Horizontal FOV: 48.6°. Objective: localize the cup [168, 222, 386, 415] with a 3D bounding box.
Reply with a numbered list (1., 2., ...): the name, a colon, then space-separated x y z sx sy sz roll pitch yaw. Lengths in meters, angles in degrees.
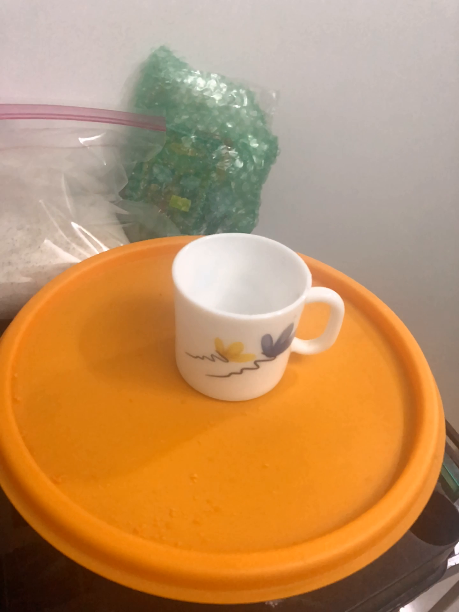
1. cup: 0.018 0.007 0.286 0.100 0.070 0.080 2 40 -7
